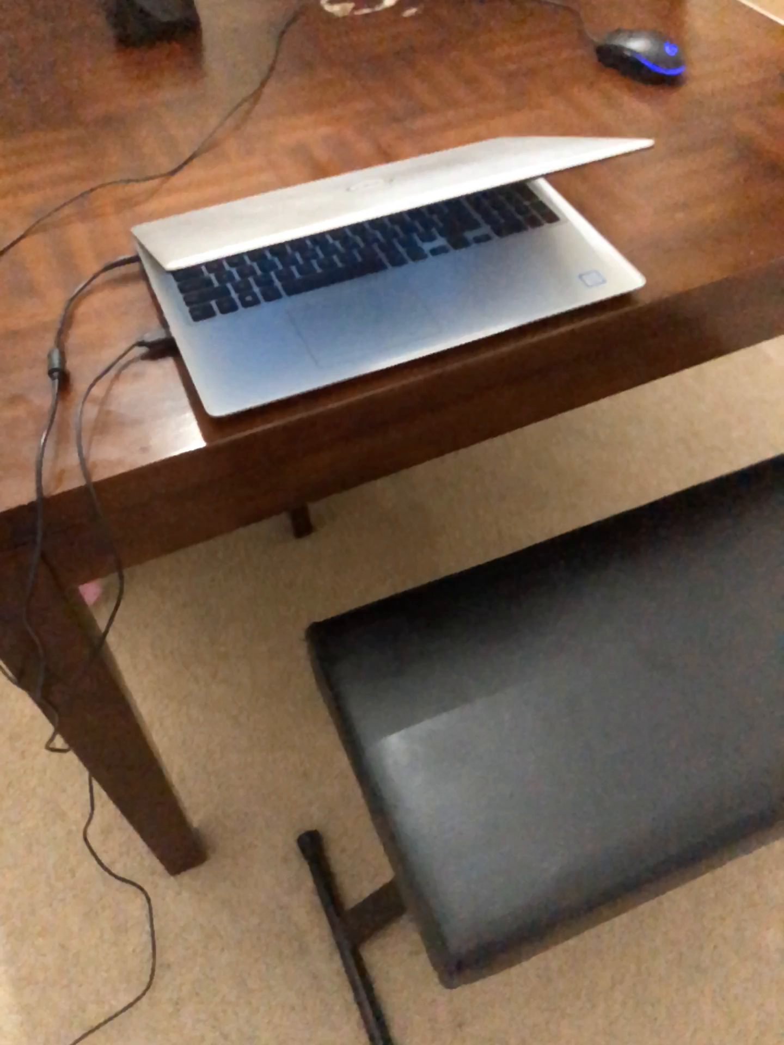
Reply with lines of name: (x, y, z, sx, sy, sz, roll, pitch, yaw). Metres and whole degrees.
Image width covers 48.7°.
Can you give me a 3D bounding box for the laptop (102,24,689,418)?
laptop: (-0.006, -0.257, 0.693, 0.368, 0.103, 0.250, -20, 55, -13)
